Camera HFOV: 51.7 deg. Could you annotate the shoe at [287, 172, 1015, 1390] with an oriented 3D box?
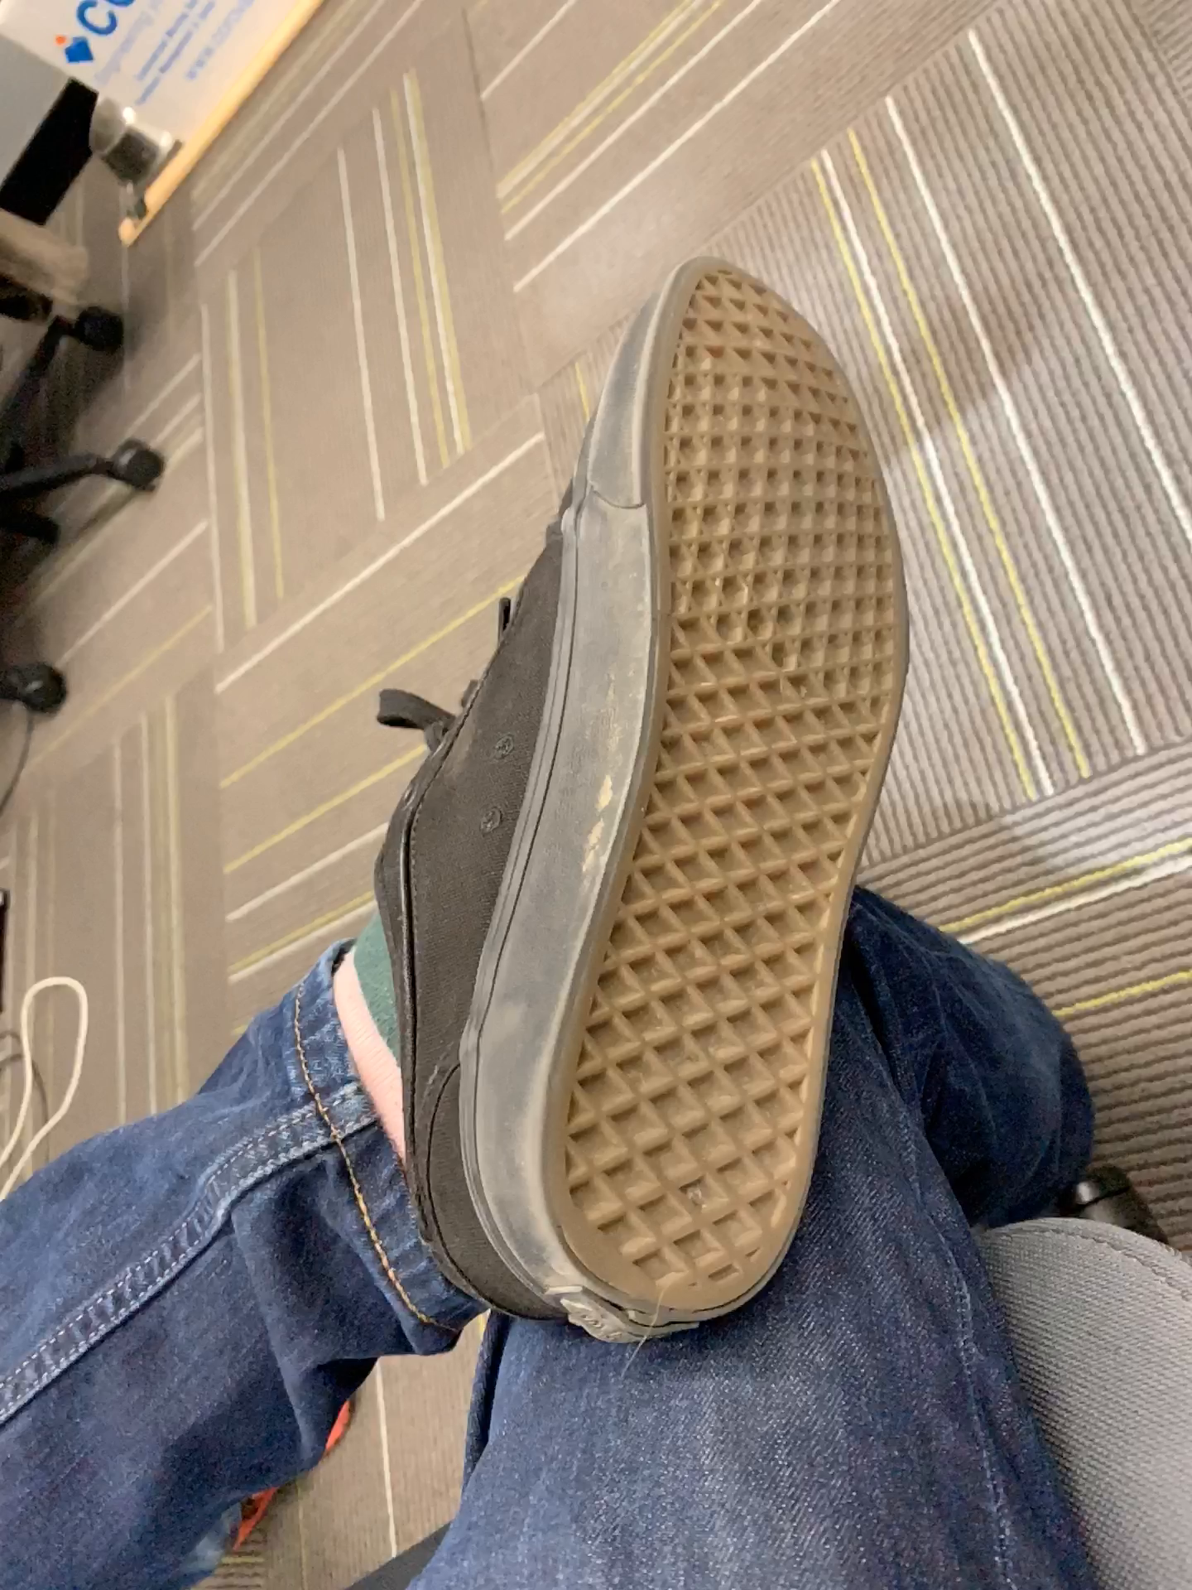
[{"bbox_3d":[0.009,0.004,0.339,0.135,0.119,0.260,-19,66,49],"label":"shoe"}]
